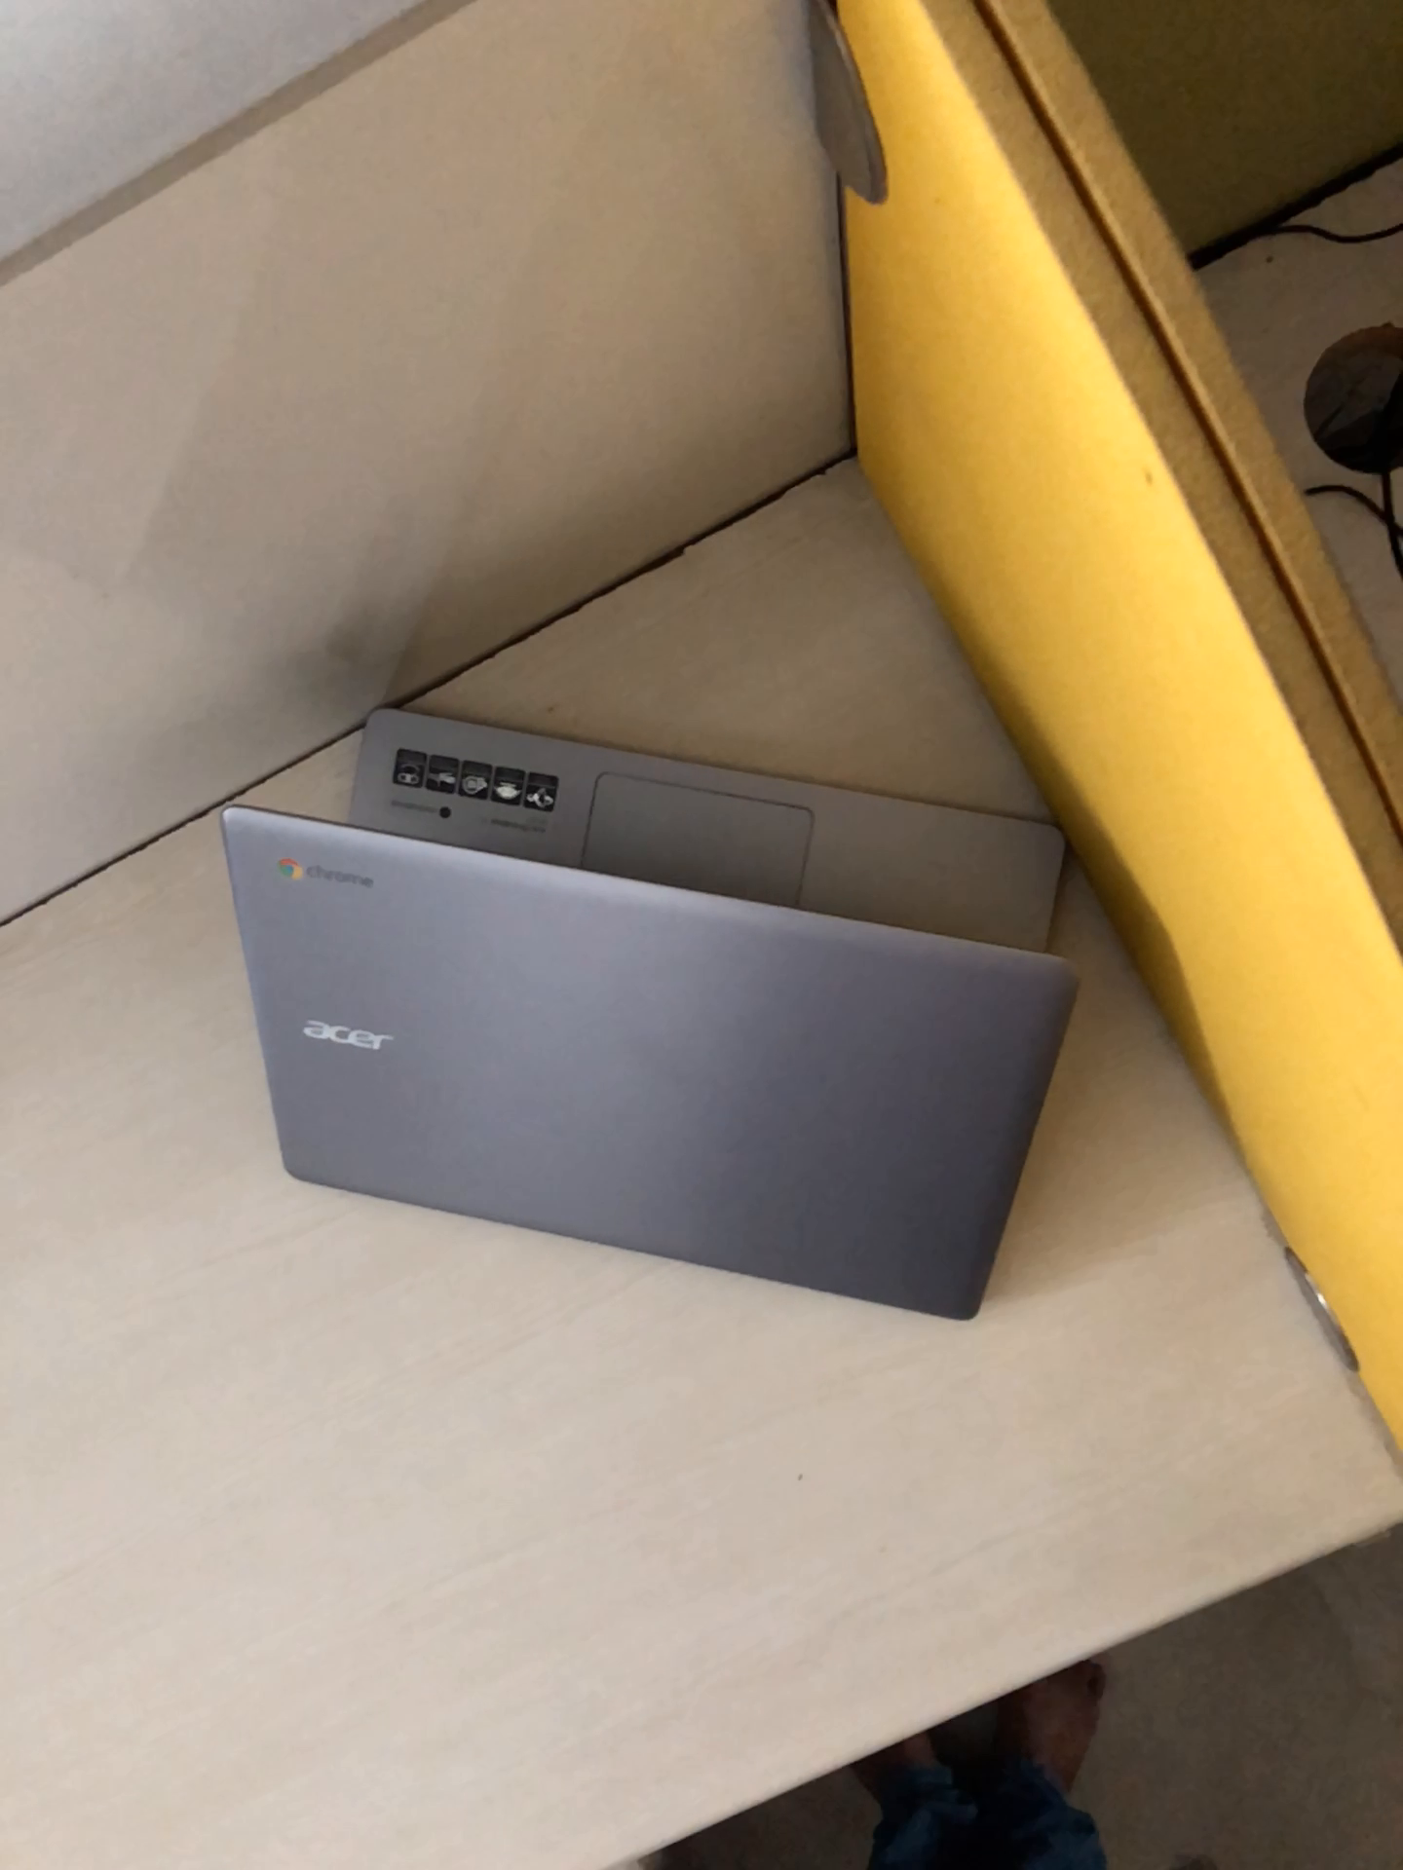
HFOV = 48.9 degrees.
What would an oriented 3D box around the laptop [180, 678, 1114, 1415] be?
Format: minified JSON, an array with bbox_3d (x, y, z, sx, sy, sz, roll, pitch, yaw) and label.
[{"bbox_3d":[-0.020,0.038,0.640,0.314,0.135,0.221,11,93,6],"label":"laptop"}]
